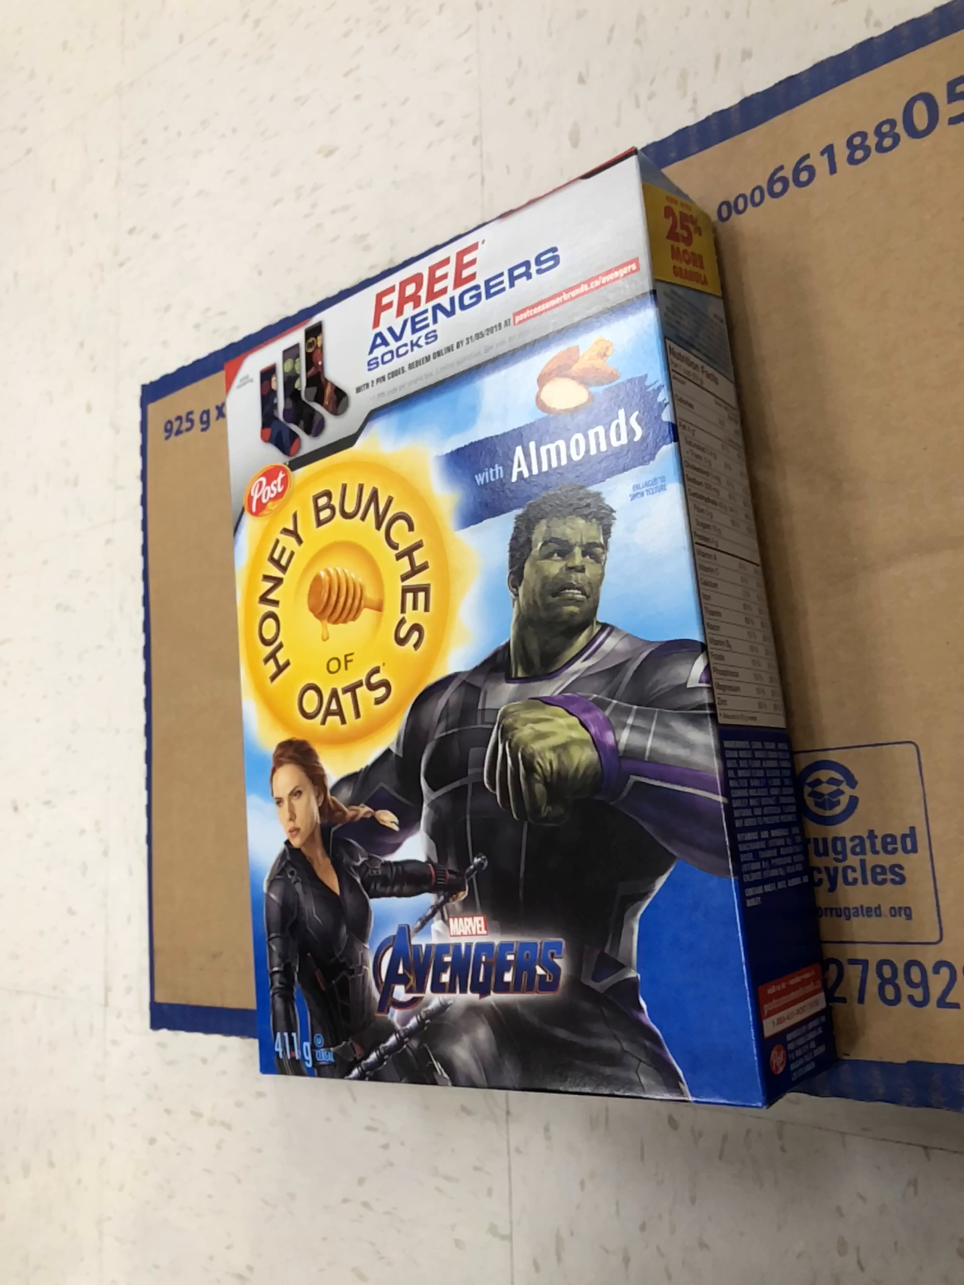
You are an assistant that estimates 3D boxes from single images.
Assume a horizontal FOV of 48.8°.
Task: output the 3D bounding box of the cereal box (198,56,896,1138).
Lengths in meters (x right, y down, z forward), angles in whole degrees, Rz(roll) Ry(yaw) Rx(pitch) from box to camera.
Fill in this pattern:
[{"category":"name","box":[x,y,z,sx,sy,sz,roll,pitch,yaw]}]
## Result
[{"category":"cereal box","box":[0.003,-0.003,0.363,0.201,0.070,0.290,-14,77,36]}]
